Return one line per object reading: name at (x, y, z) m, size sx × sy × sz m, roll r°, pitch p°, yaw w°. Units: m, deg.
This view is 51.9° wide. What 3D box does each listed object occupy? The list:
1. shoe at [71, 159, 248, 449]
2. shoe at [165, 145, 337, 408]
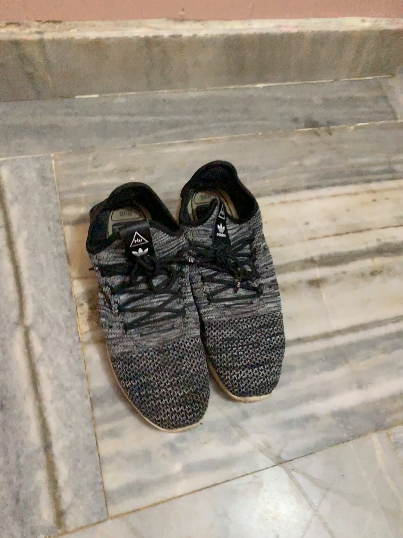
shoe at (-0.059, 0.029, 0.469) m, size 0.120 × 0.080 × 0.300 m, roll -10°, pitch 69°, yaw -15°
shoe at (0.044, -0.002, 0.504) m, size 0.120 × 0.080 × 0.300 m, roll -7°, pitch 68°, yaw -14°
